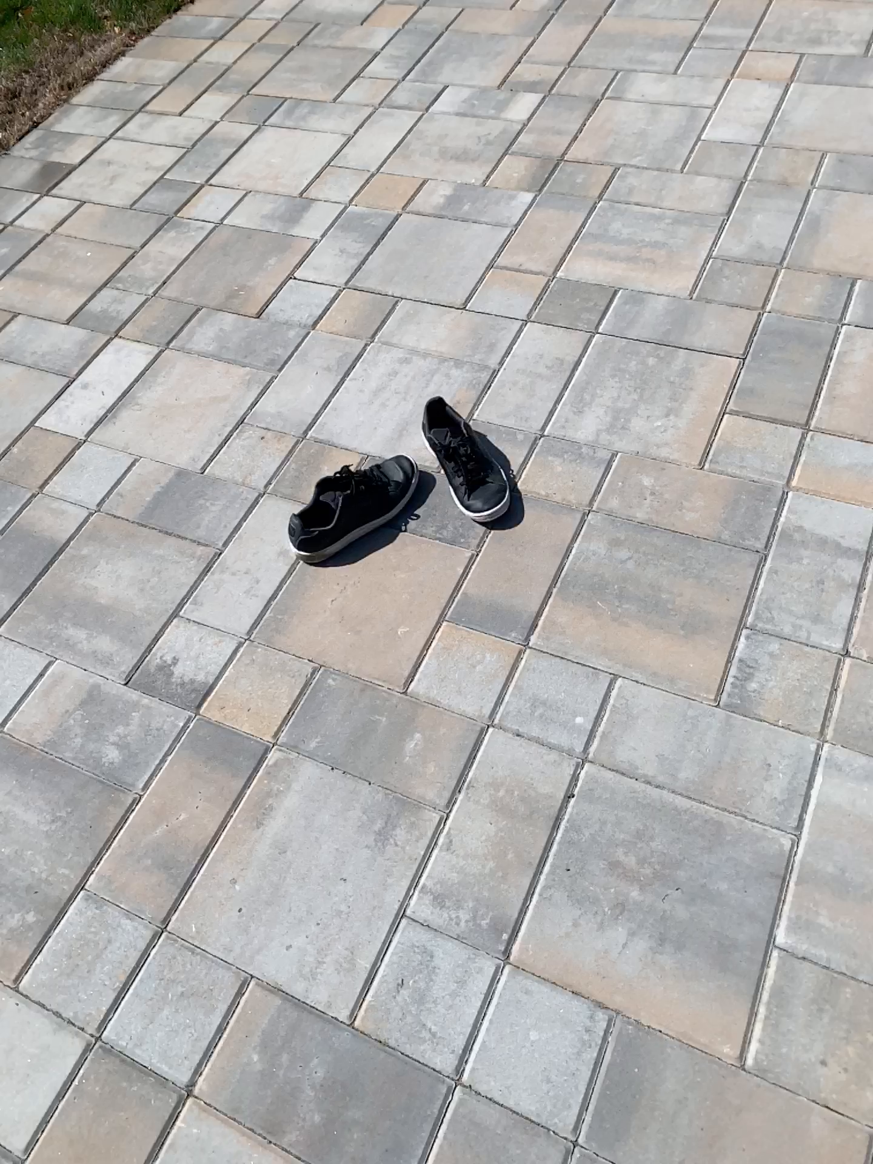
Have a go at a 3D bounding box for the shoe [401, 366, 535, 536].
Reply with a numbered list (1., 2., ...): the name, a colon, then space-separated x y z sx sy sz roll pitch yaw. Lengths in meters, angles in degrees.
1. shoe: 0.050 -0.224 1.488 0.110 0.100 0.281 -23 53 -7

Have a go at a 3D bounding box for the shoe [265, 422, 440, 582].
1. shoe: -0.133 -0.133 1.461 0.250 0.110 0.110 -35 55 -16
